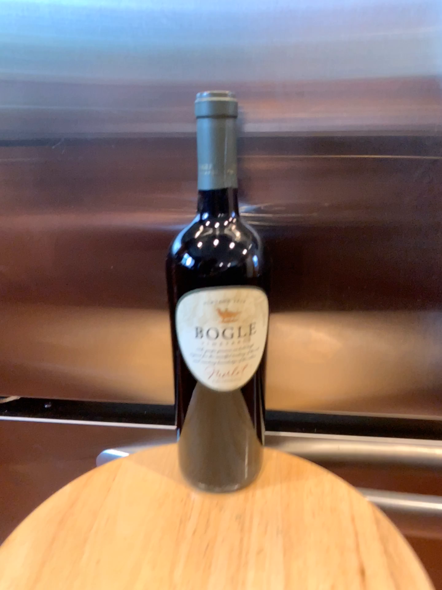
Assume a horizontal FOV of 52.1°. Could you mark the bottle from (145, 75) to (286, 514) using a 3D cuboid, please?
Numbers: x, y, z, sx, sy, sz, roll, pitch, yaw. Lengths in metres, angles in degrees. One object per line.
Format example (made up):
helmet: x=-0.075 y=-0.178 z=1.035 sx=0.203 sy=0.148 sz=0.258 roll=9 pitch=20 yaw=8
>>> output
bottle: x=-0.006 y=0.007 z=0.360 sx=0.080 sy=0.319 sz=0.080 roll=0 pitch=17 yaw=0
